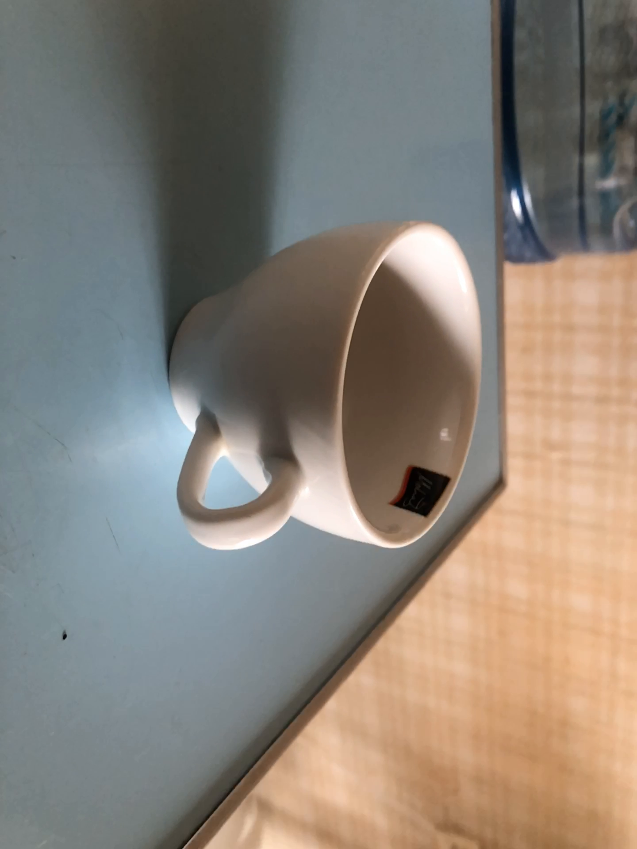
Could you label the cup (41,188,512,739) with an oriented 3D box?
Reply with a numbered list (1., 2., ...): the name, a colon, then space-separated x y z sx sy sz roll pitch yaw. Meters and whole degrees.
1. cup: 0.003 0.004 0.198 0.107 0.057 0.097 -52 136 -39
